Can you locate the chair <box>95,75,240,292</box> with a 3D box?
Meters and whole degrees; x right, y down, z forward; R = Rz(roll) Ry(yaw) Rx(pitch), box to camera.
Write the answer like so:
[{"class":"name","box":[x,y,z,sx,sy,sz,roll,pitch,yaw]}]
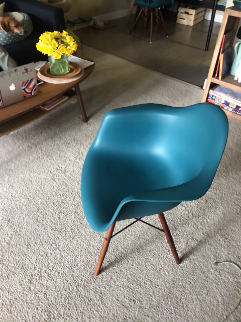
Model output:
[{"class":"chair","box":[0.156,0.119,1.262,0.481,0.844,0.574,-5,42,-11]}]
